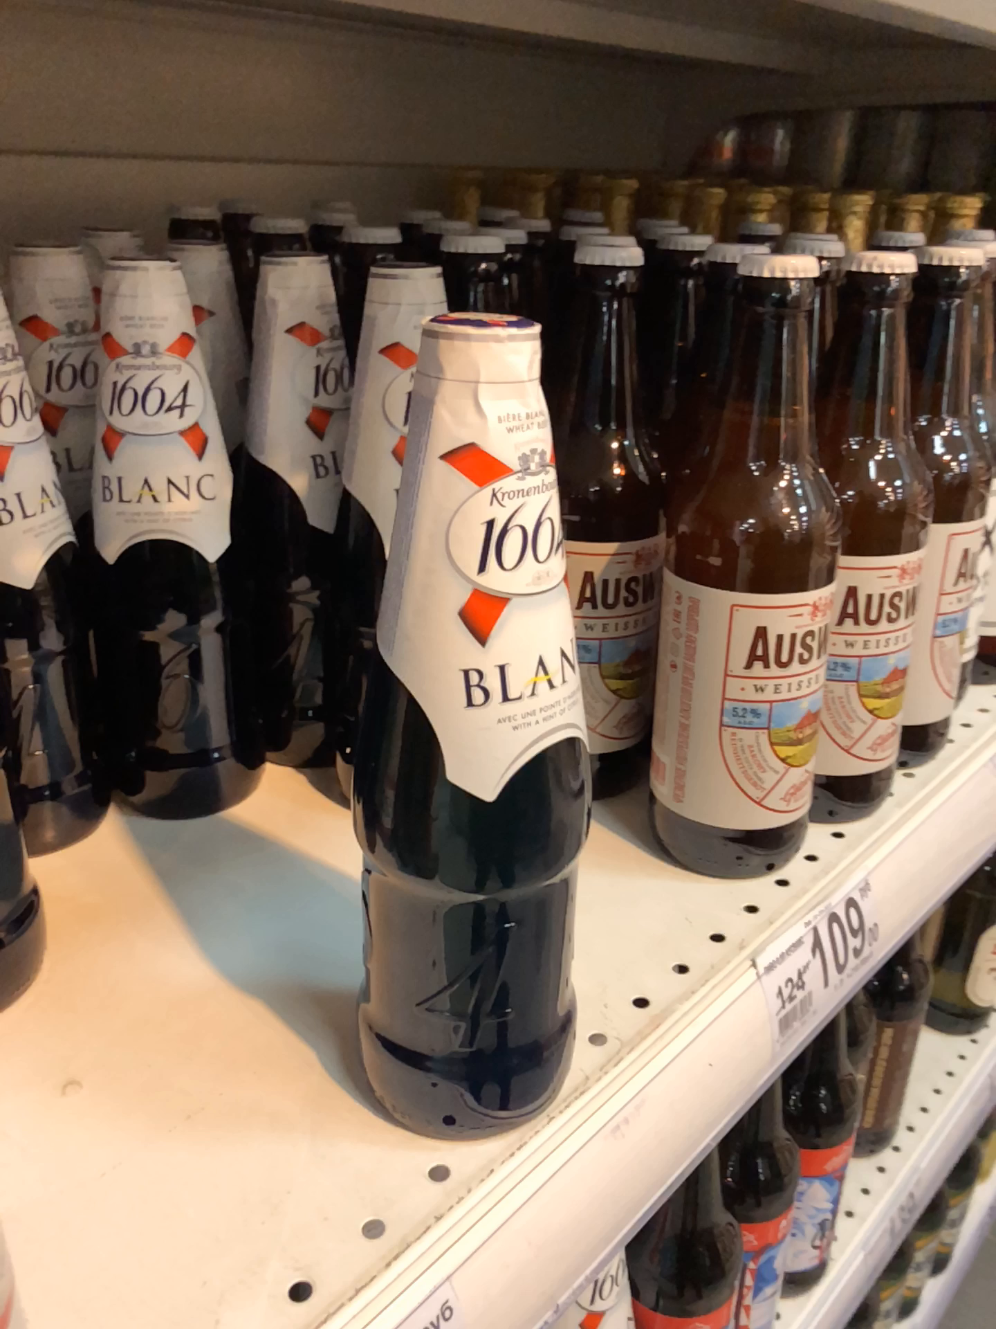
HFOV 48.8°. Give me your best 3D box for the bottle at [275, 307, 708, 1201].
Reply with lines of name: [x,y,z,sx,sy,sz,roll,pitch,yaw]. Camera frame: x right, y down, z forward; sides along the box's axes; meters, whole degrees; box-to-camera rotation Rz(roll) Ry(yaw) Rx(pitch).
bottle: [-0.005,0.025,0.317,0.080,0.234,0.070,-19,32,-40]
